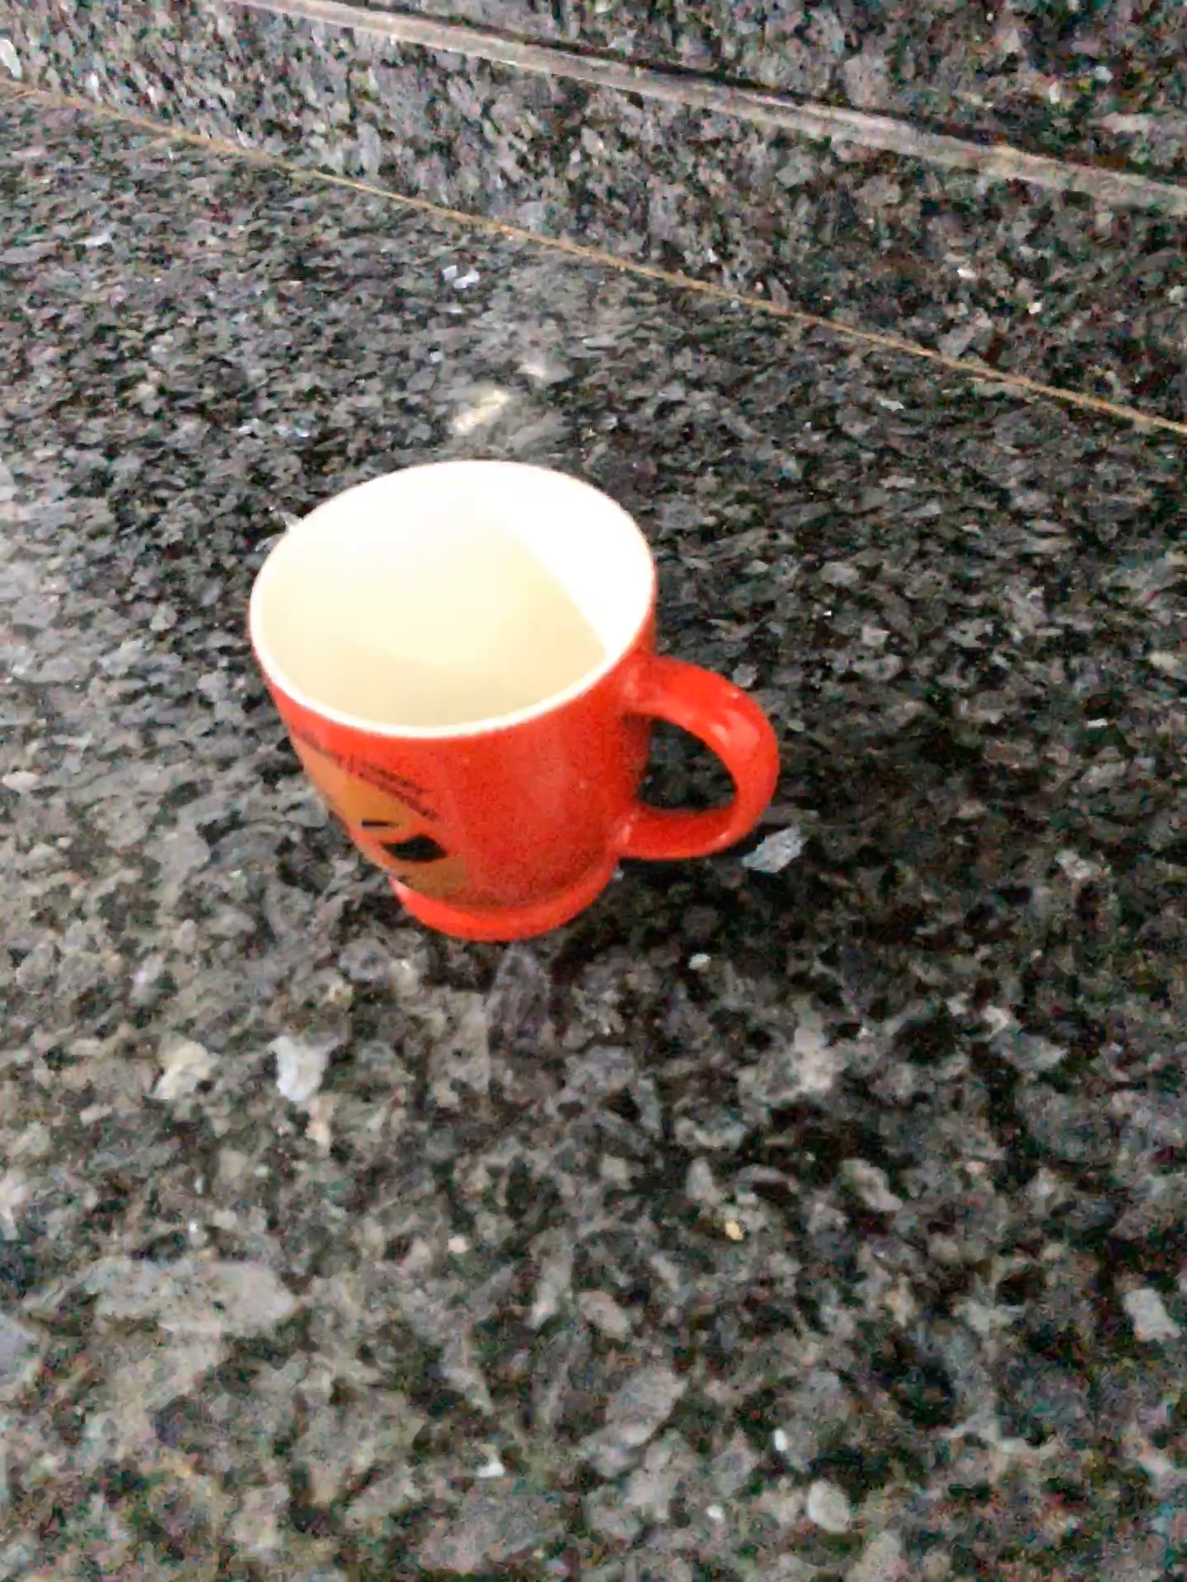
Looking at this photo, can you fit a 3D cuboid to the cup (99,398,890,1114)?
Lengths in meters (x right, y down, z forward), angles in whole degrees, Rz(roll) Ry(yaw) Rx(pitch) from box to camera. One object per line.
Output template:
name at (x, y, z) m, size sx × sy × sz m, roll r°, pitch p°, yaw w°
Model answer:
cup at (-0.015, -0.010, 0.228) m, size 0.110 × 0.069 × 0.070 m, roll 25°, pitch 56°, yaw 22°
